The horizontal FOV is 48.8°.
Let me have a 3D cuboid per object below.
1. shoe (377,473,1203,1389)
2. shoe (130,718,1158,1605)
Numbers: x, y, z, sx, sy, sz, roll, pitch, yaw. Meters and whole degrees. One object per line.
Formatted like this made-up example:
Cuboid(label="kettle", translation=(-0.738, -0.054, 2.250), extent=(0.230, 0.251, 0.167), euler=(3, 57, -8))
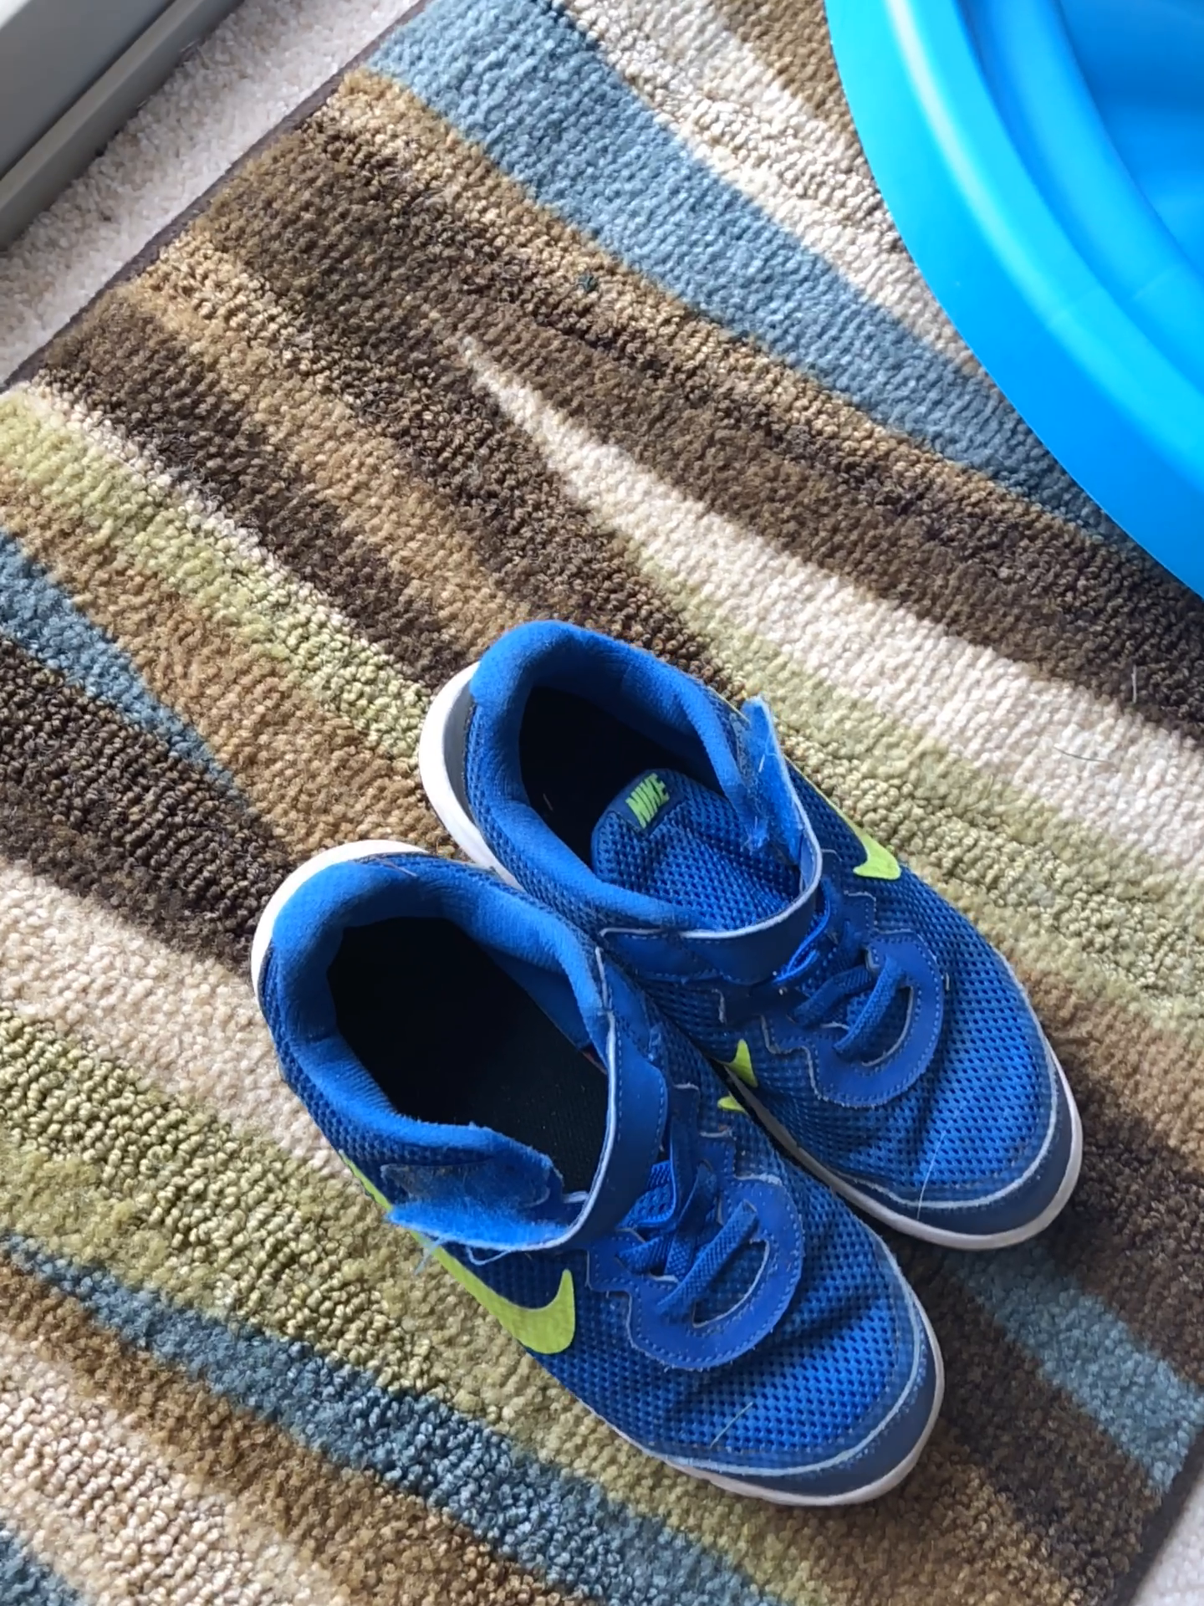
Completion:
Cuboid(label="shoe", translation=(0.061, 0.034, 0.366), extent=(0.230, 0.075, 0.104), euler=(40, 74, 2))
Cuboid(label="shoe", translation=(0.007, 0.103, 0.341), extent=(0.233, 0.075, 0.102), euler=(43, 74, 3))
